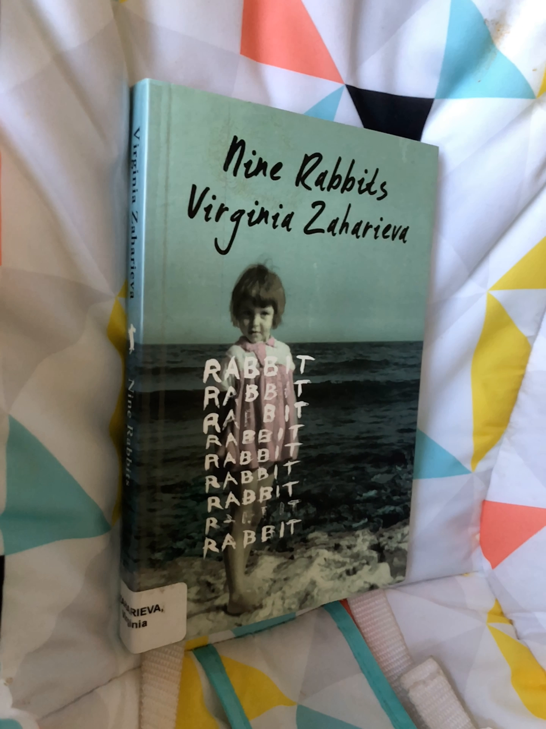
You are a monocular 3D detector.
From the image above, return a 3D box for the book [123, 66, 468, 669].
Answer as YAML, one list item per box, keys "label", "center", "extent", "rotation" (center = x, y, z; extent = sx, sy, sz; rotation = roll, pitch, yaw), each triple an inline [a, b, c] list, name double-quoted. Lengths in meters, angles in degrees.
- label: "book"
  center: [0.014, 0.003, 0.251]
  extent: [0.146, 0.025, 0.200]
  rotation: [-2, 99, -34]
